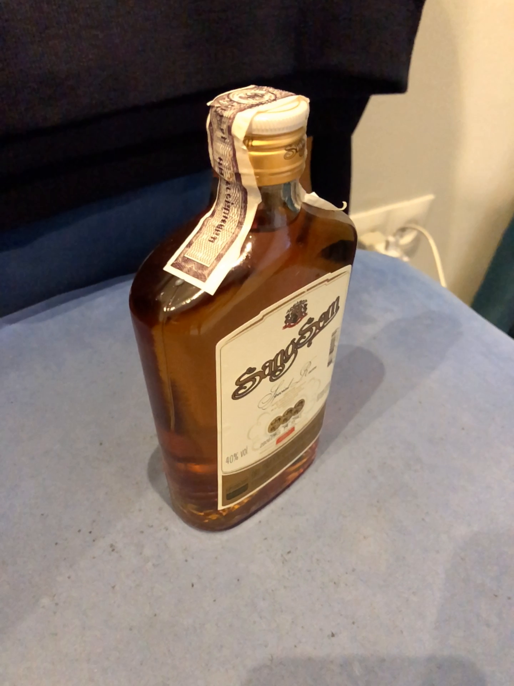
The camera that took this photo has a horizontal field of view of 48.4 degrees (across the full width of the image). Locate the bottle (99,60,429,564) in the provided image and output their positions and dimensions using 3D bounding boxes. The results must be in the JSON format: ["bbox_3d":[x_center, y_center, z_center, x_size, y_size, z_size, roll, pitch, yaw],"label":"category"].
[{"bbox_3d":[0.000,-0.001,0.222,0.090,0.179,0.041,-31,54,-33],"label":"bottle"}]
